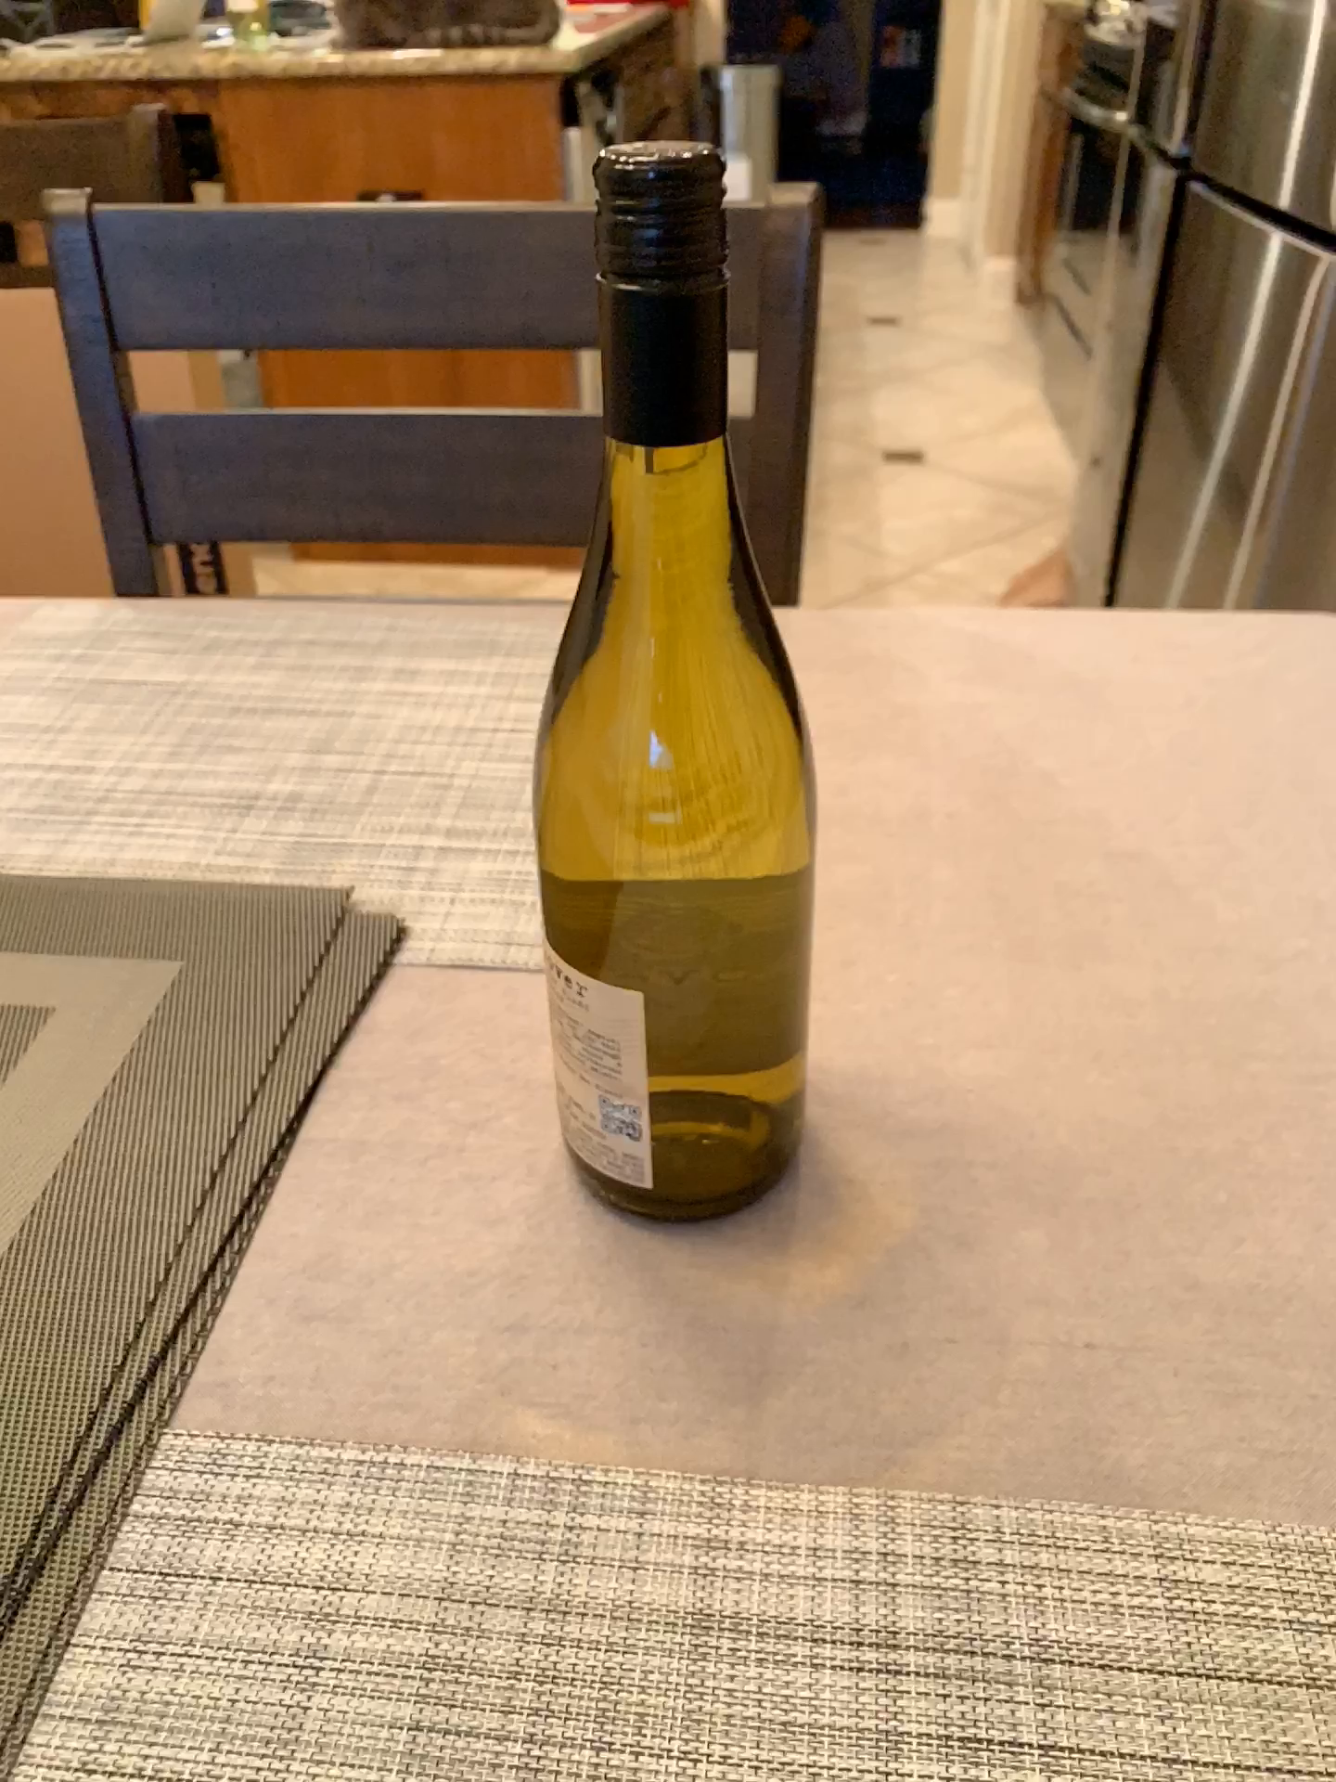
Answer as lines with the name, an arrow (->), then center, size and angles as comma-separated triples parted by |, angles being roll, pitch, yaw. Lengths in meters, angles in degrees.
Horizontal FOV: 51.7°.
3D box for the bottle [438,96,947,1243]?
bottle -> 0.012, -0.046, 0.387 | 0.090, 0.298, 0.090 | -1, 35, 1
